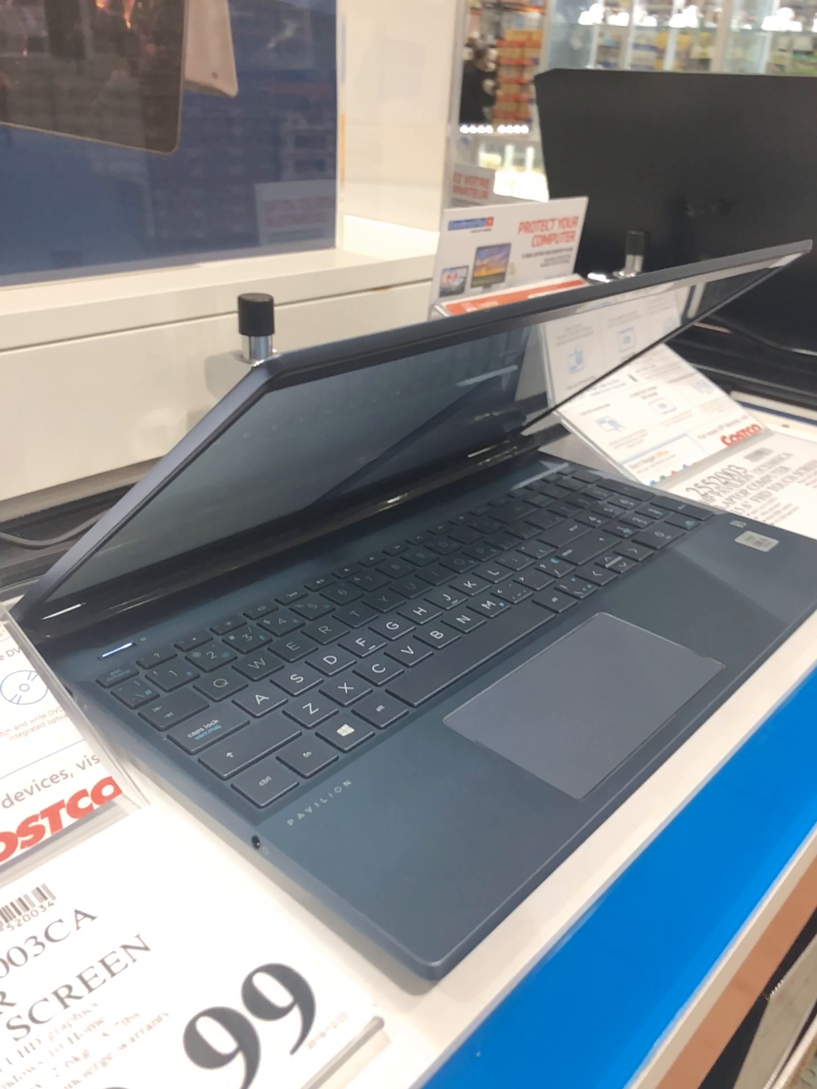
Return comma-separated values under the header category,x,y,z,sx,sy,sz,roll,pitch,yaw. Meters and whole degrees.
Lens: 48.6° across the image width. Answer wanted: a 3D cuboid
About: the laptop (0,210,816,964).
category,x,y,z,sx,sy,sz,roll,pitch,yaw
laptop,0.048,-0.043,0.388,0.218,0.149,0.347,24,34,35
